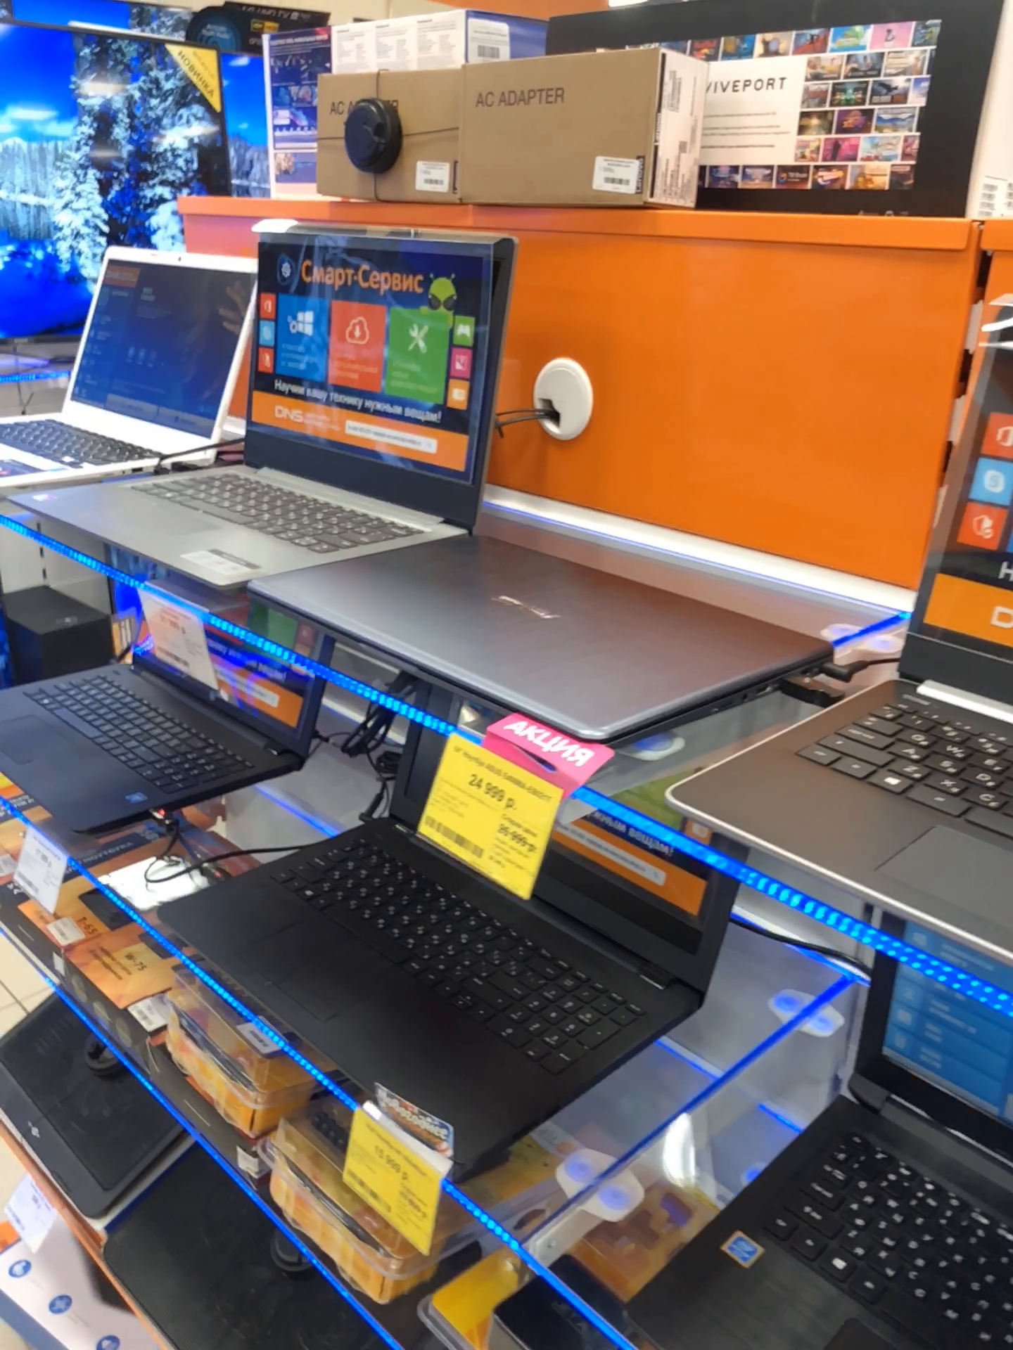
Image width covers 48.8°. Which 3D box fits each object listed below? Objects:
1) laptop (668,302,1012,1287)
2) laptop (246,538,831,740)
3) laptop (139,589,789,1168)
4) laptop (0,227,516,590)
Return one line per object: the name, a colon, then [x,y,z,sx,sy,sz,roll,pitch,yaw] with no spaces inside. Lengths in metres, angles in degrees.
laptop: [0.288,-0.024,0.446,0.336,0.205,0.272,22,29,40]
laptop: [0.010,-0.039,0.726,0.214,0.001,0.324,-17,28,-40]
laptop: [-0.042,0.111,0.876,0.313,0.227,0.377,-18,28,-41]
laptop: [-0.217,-0.248,0.934,0.354,0.225,0.289,21,28,40]
